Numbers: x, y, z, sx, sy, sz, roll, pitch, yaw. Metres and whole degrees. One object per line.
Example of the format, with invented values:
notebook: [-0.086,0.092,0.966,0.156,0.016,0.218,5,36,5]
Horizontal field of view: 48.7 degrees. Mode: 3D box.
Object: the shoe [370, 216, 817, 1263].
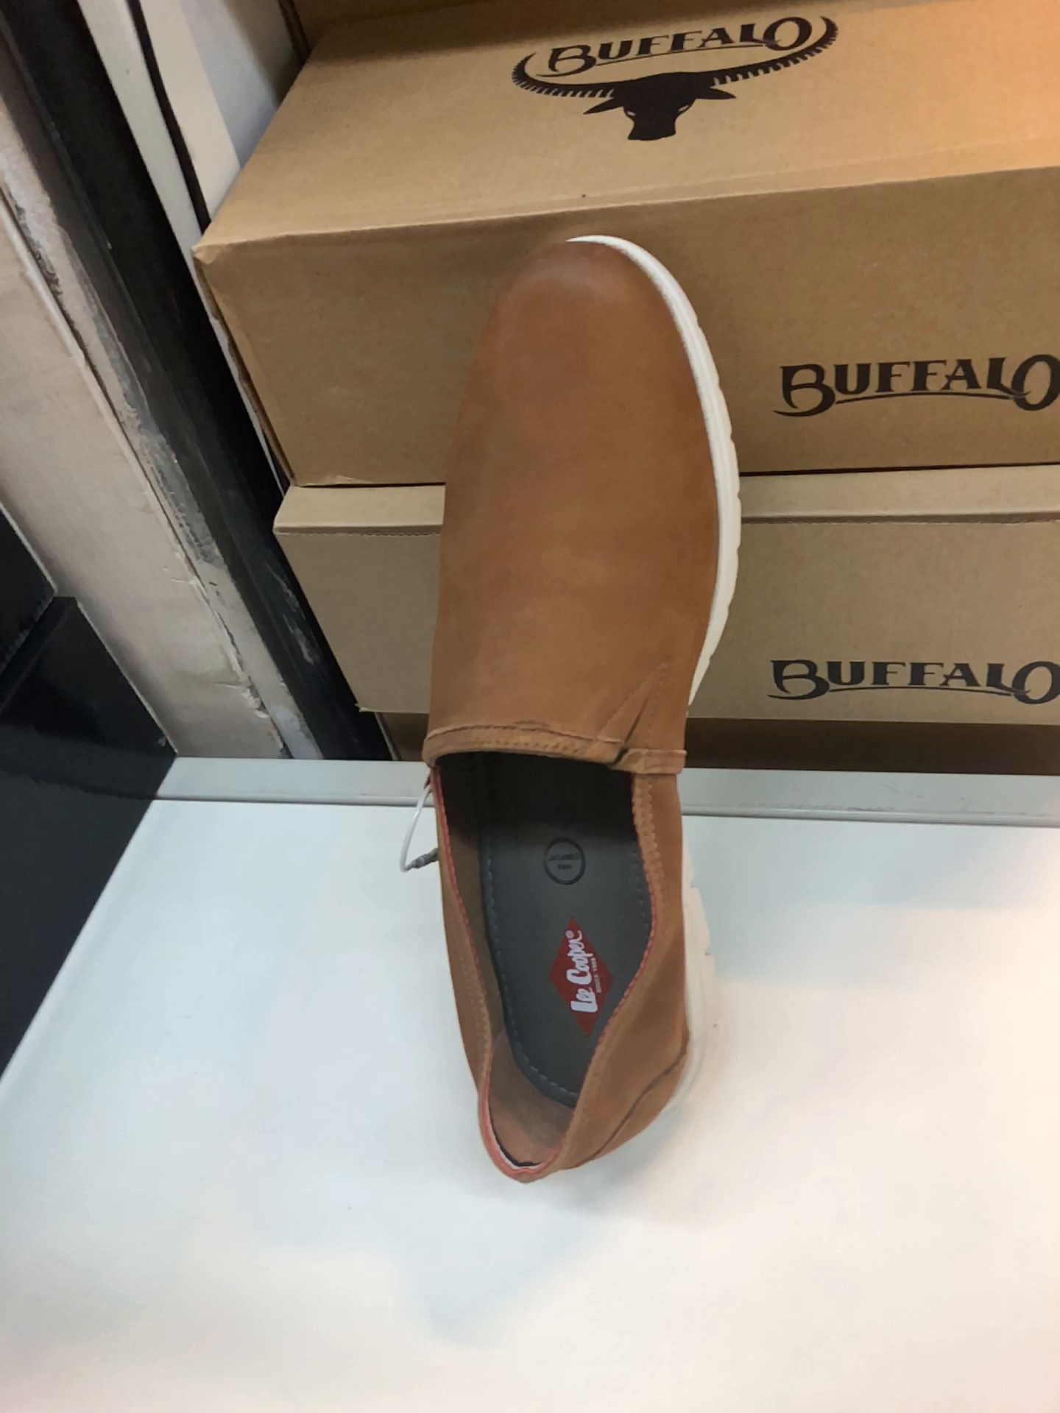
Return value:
shoe: [0.029,0.006,0.434,0.113,0.310,0.149,3,6,24]
